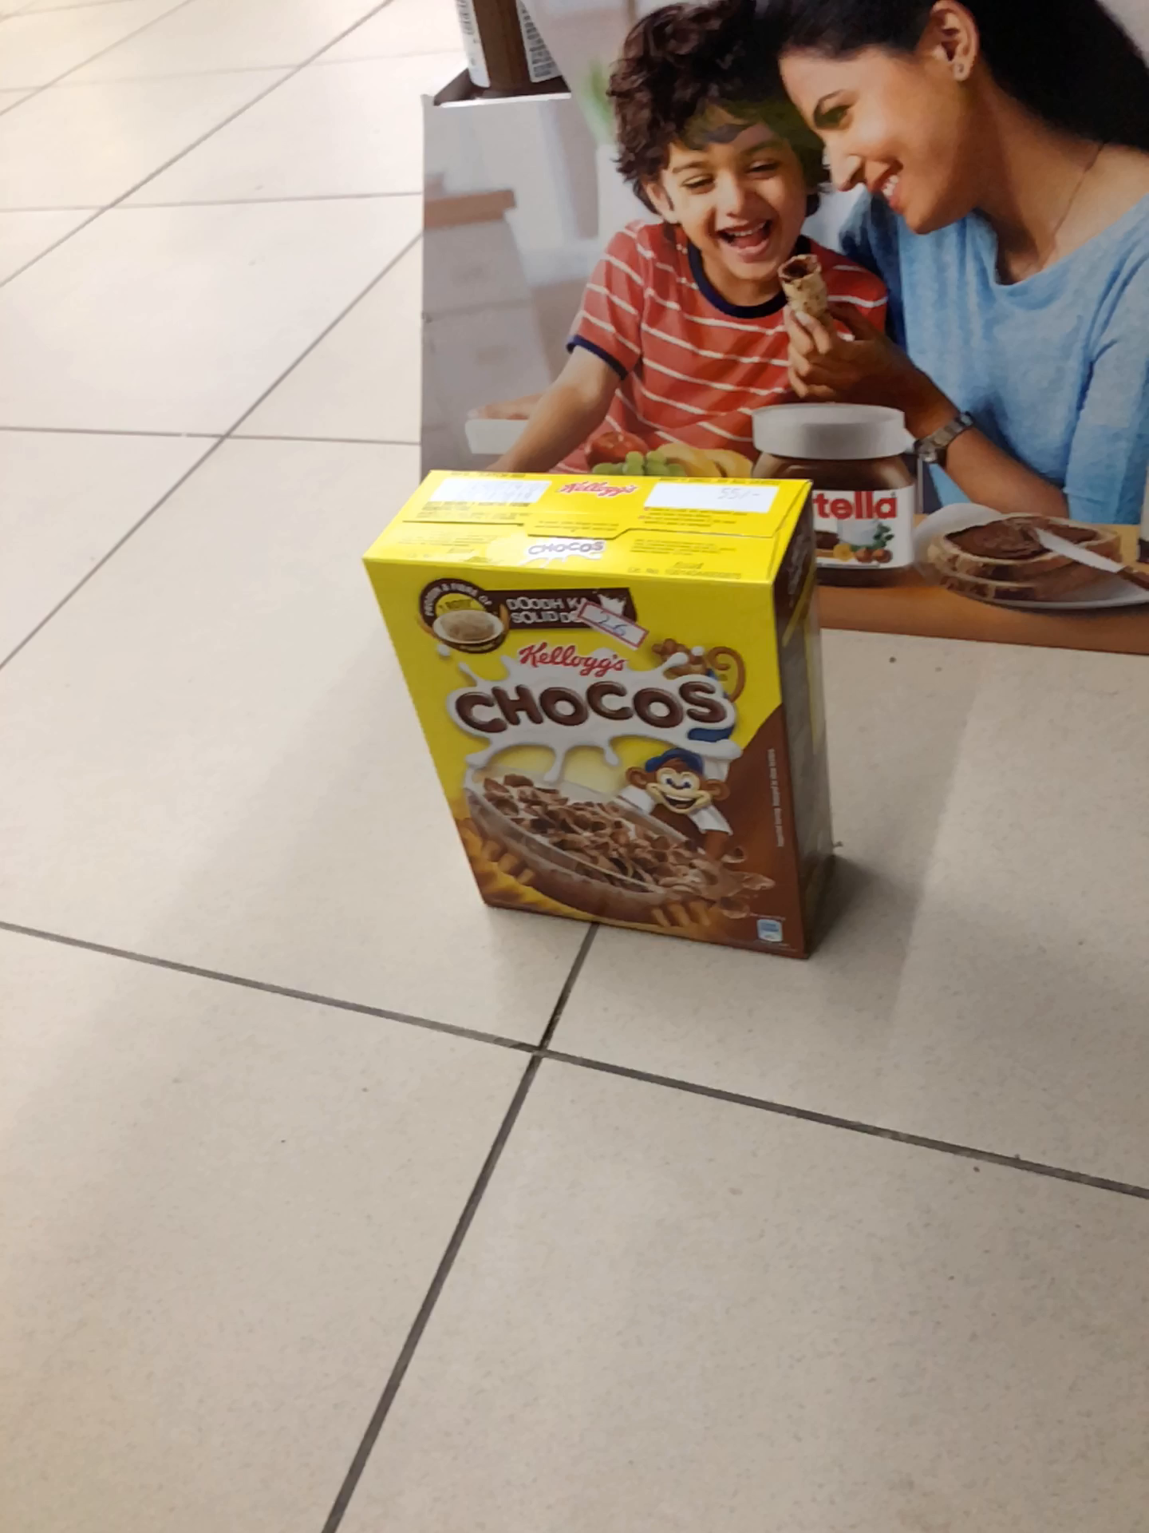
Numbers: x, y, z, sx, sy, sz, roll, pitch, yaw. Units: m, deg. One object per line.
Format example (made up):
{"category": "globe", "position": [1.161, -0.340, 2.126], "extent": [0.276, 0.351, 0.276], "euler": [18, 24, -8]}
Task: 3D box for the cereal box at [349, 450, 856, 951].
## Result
{"category": "cereal box", "position": [0.019, -0.019, 0.437], "extent": [0.140, 0.169, 0.050], "euler": [7, 47, 21]}
